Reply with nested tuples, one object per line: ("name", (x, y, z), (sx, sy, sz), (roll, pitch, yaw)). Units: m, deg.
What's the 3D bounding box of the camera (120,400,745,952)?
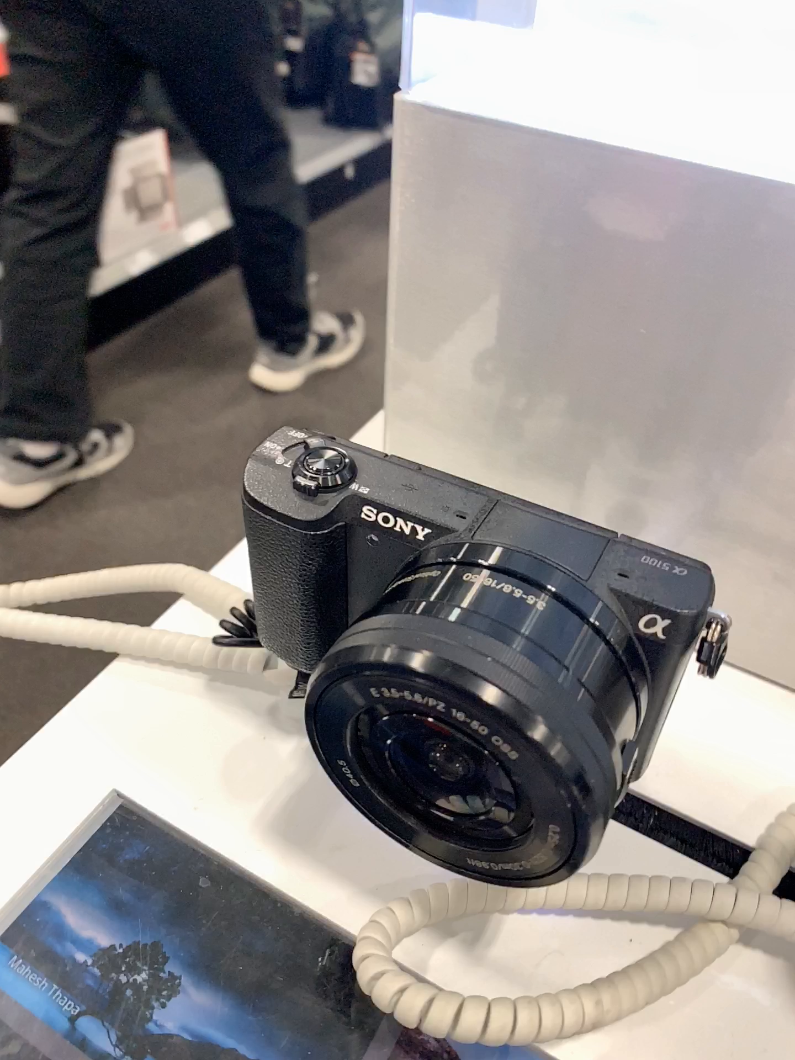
("camera", (0.008, 0.027, 0.193), (0.113, 0.060, 0.066), (21, 46, 19))
